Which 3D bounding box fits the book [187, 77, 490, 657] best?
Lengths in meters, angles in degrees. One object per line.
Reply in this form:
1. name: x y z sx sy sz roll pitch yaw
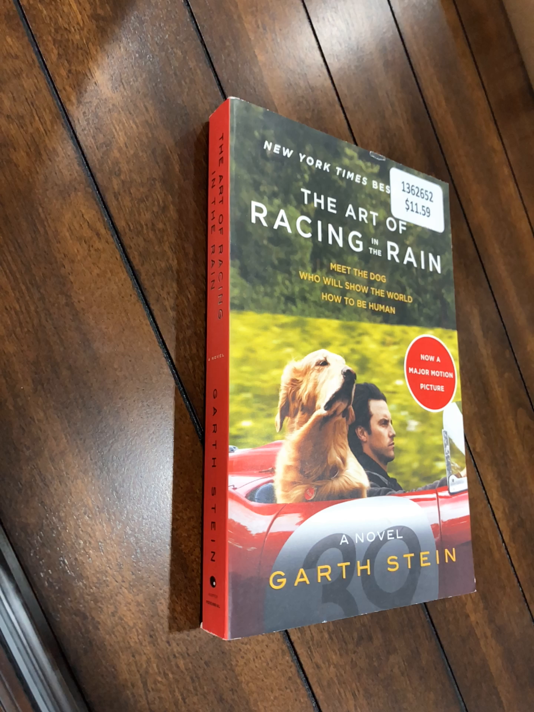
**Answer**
1. book: 0.036 0.004 0.264 0.141 0.028 0.210 7 76 -35
